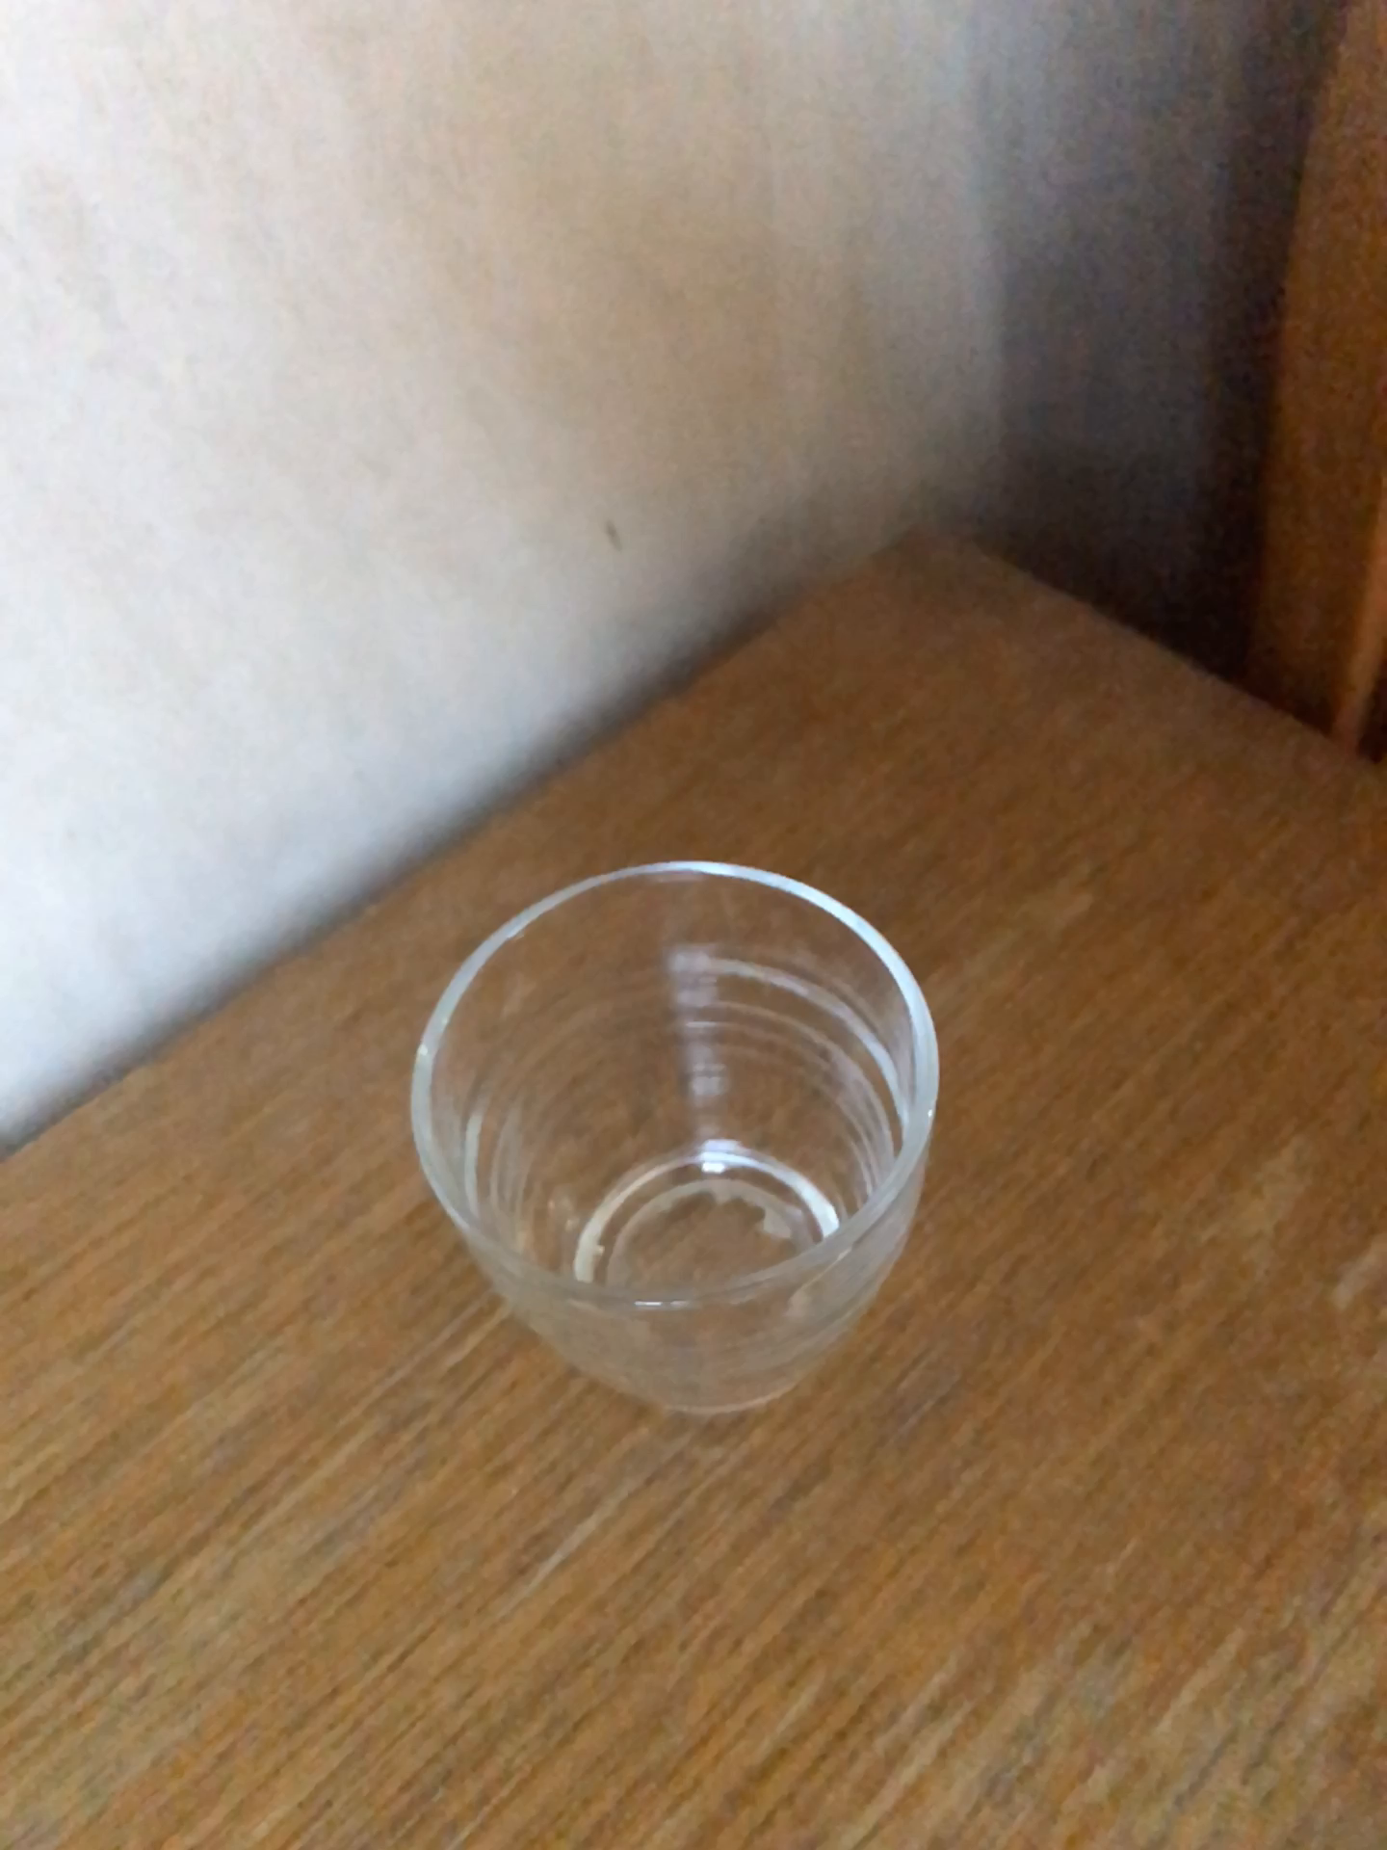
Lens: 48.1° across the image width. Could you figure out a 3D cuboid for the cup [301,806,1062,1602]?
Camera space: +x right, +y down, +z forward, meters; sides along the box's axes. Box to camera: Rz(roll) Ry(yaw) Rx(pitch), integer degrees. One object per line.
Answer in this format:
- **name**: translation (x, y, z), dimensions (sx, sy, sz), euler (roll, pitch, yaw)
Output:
- **cup**: translation (0.003, 0.039, 0.239), dimensions (0.080, 0.060, 0.080), euler (-3, 49, 4)
